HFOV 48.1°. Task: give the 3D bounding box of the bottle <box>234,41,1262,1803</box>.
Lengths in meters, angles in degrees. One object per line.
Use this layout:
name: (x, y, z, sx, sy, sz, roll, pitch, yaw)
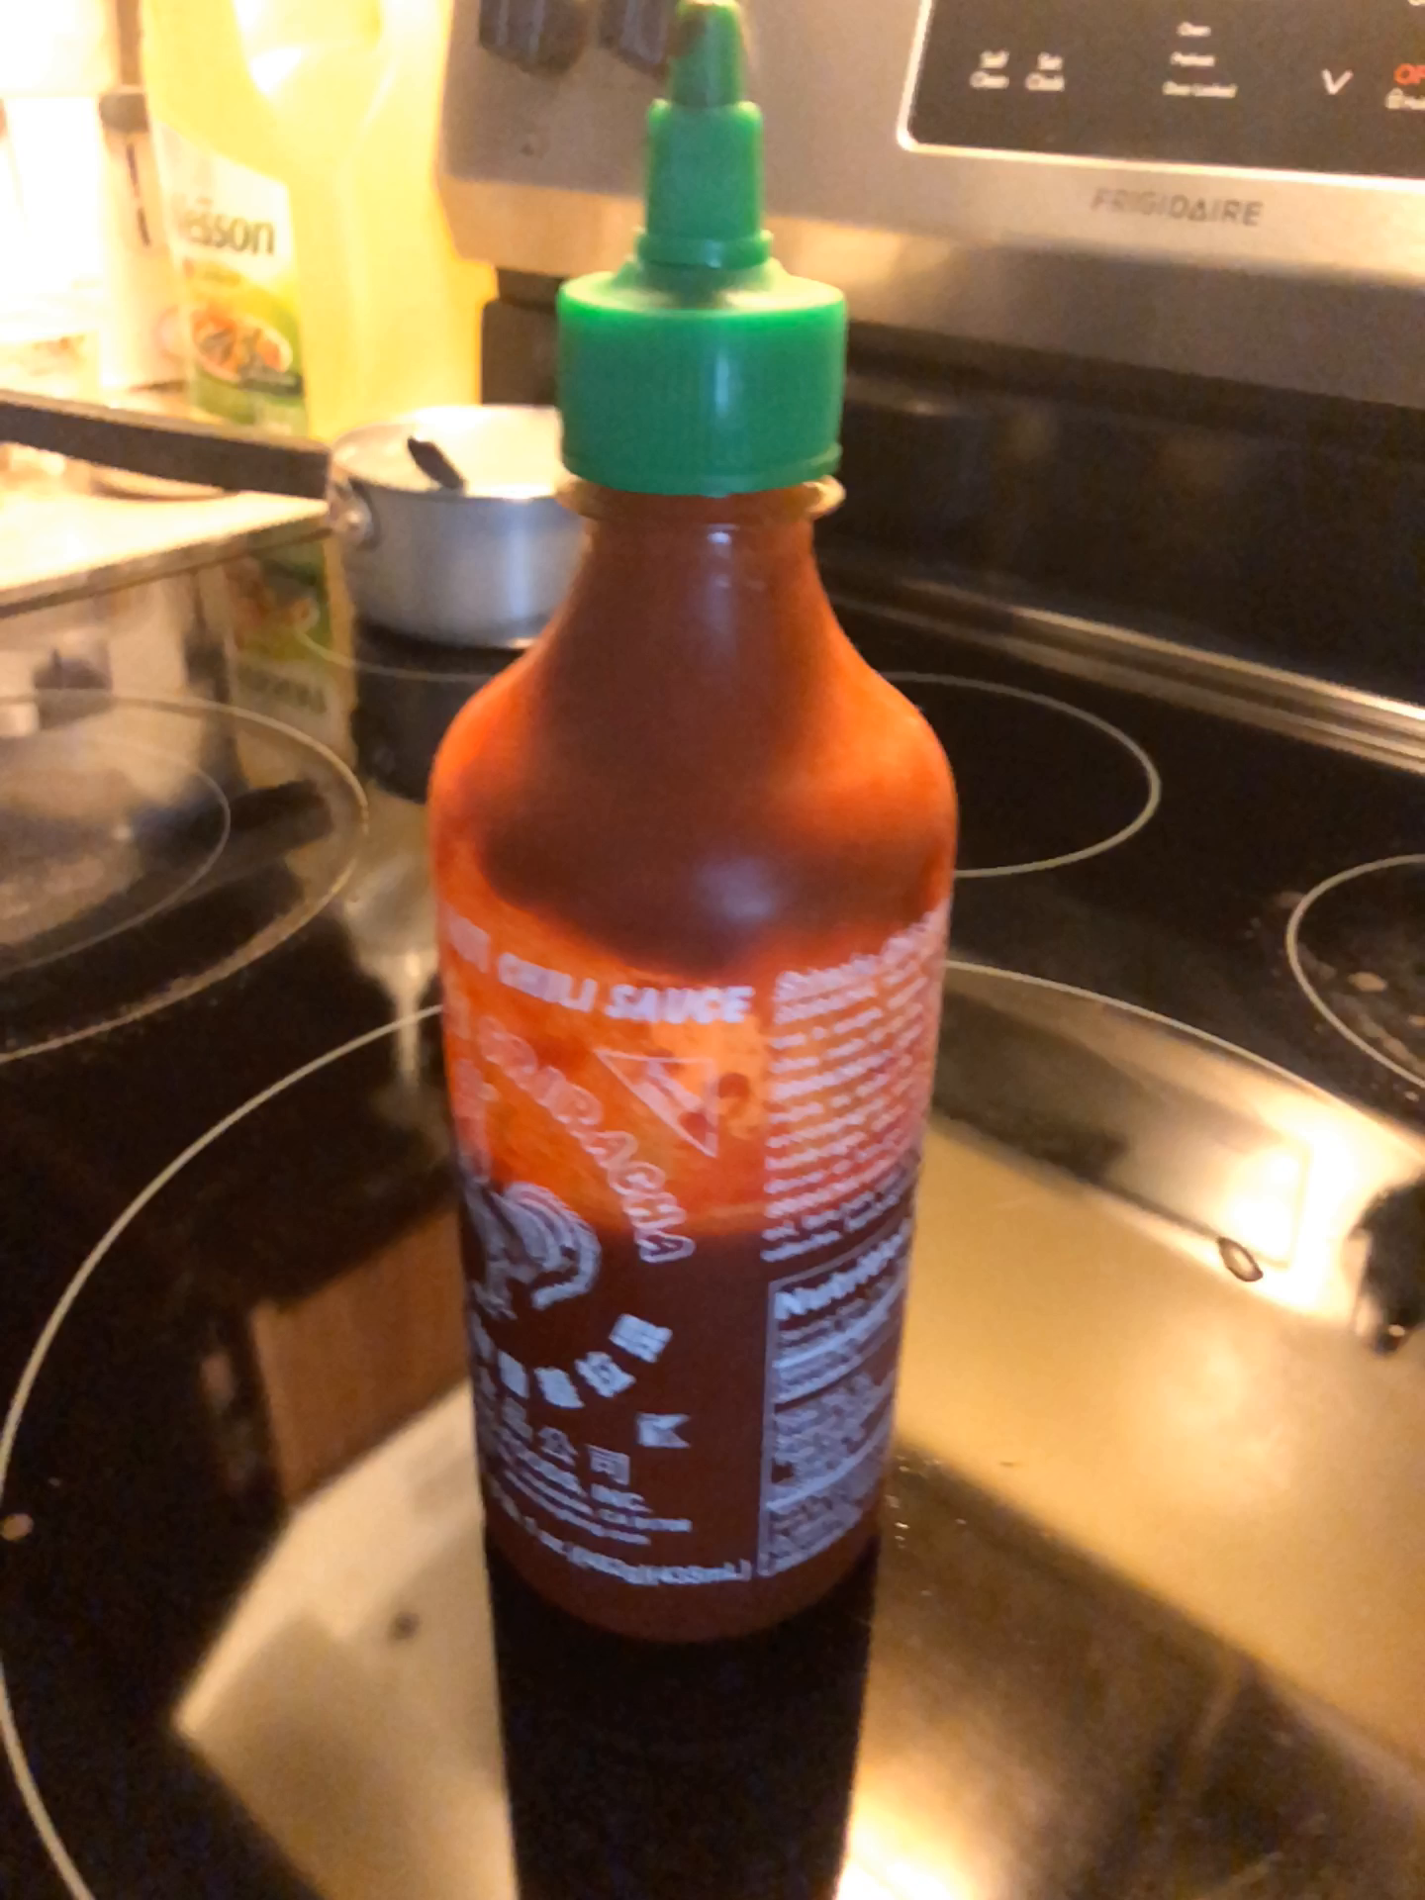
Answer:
bottle: (0.001, 0.000, 0.203, 0.070, 0.199, 0.070, 1, 30, -1)
